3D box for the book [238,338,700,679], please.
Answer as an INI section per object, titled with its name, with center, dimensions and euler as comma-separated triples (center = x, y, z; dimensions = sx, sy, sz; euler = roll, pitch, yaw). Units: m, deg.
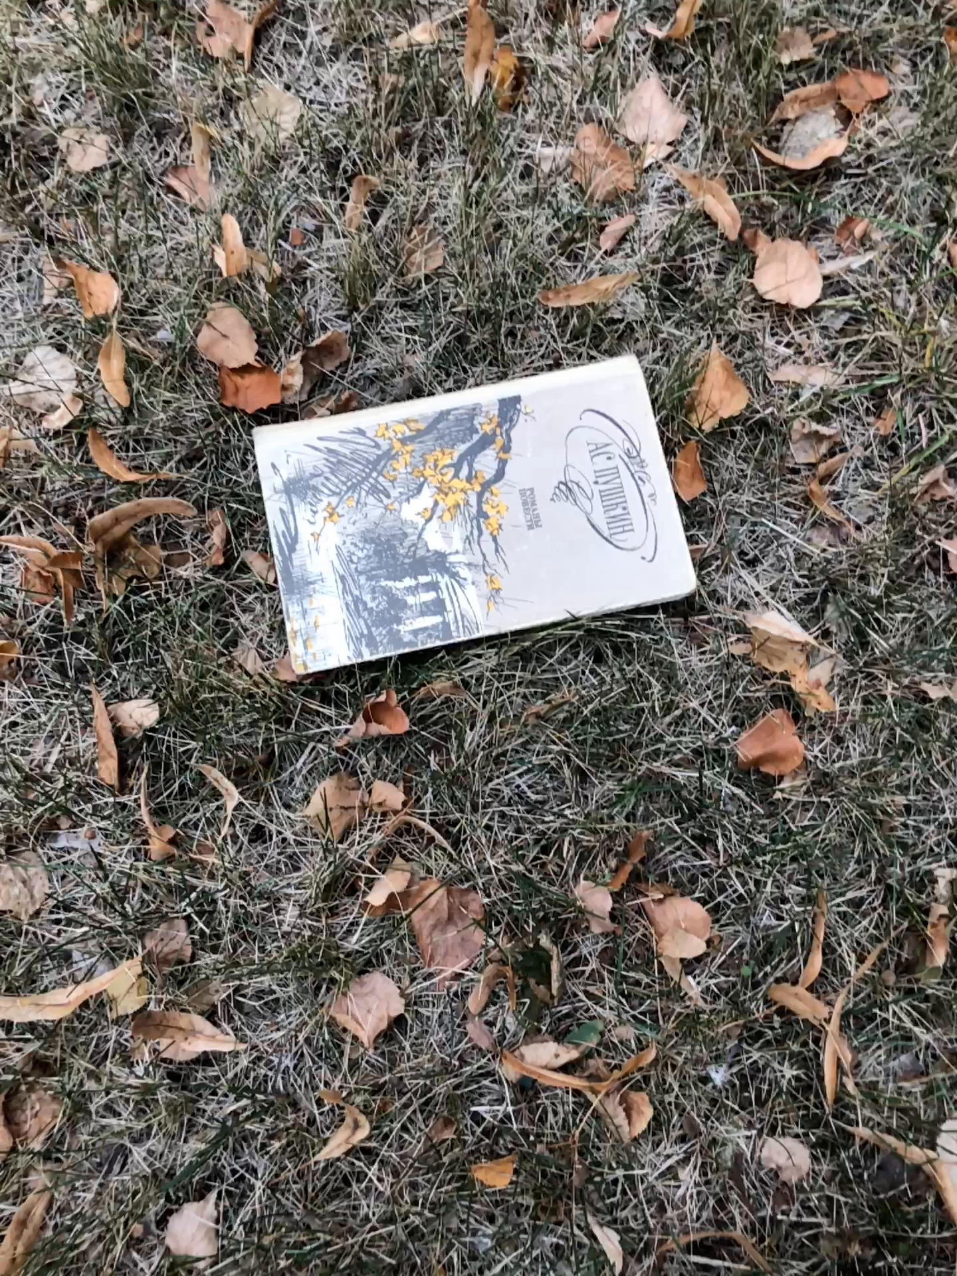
[book]
center = -0.007, -0.067, 0.542
dimensions = 0.210, 0.021, 0.135
euler = -12, 79, -1
